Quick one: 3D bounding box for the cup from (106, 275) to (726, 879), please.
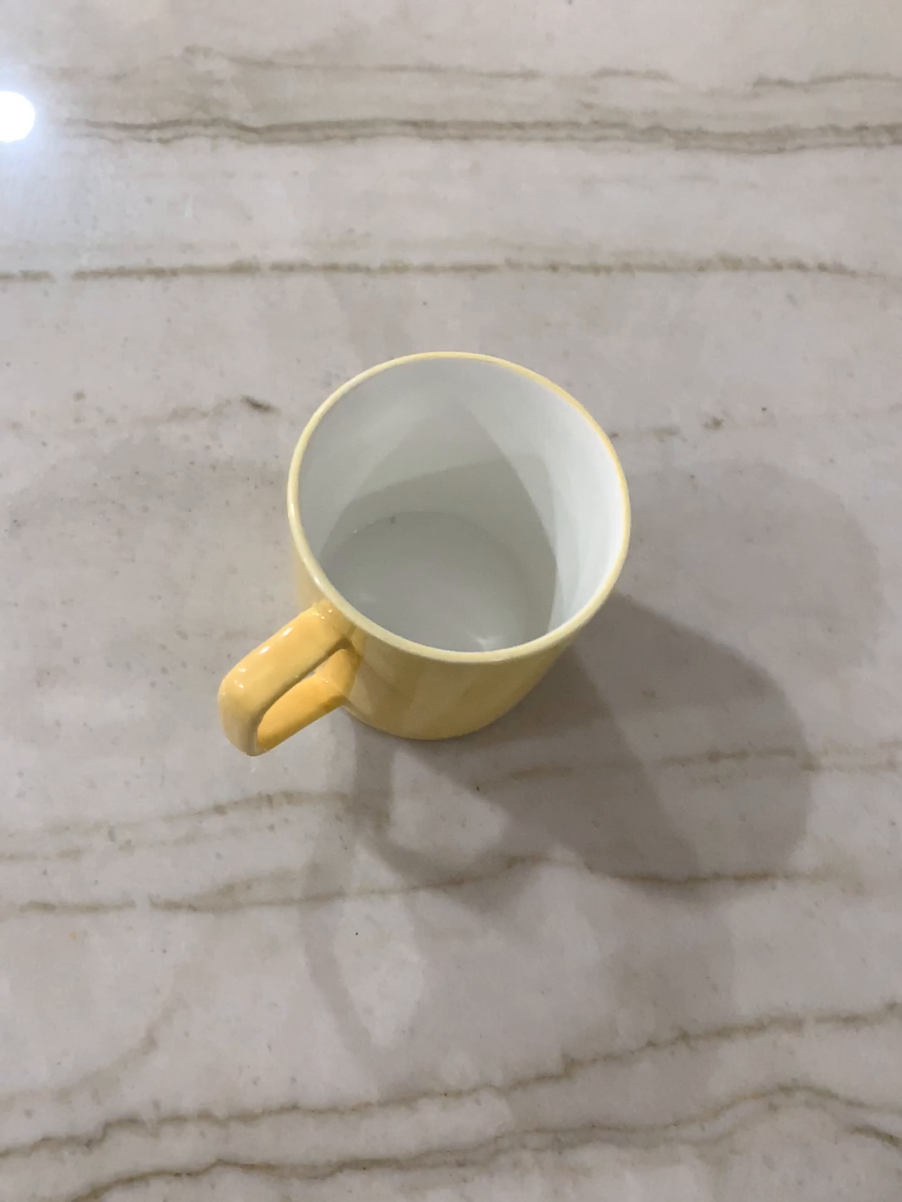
[{"bbox_3d":[-0.008,-0.003,0.230,0.074,0.074,0.110,43,69,10],"label":"cup"}]
